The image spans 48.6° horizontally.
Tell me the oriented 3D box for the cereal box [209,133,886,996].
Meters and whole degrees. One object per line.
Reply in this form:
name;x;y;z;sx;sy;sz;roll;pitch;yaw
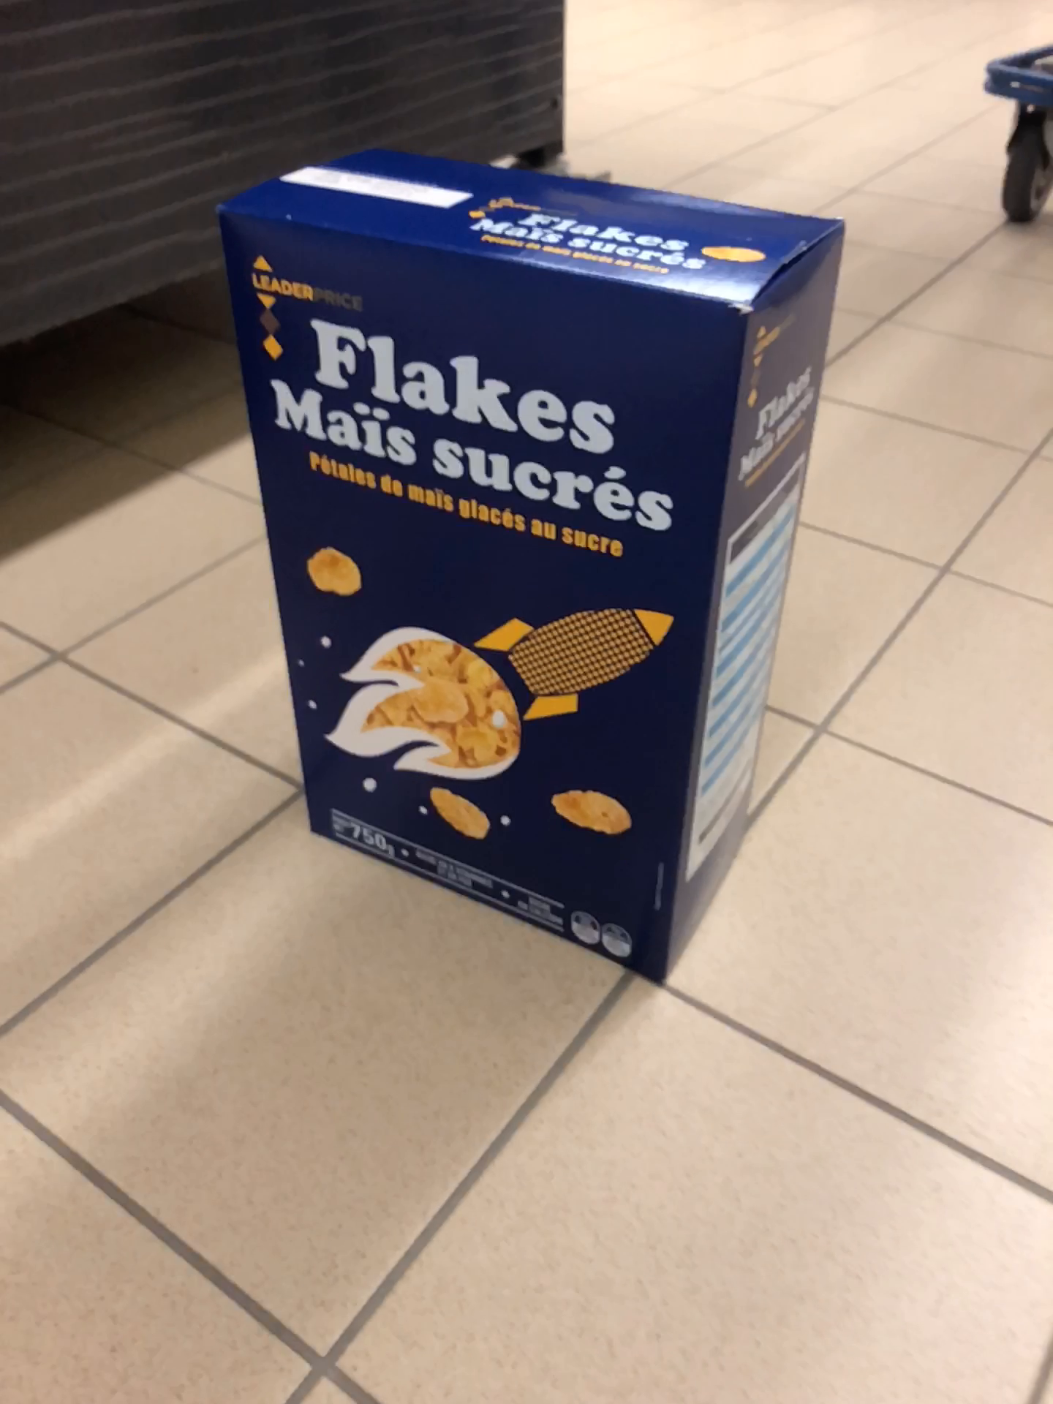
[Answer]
cereal box;0.006;-0.051;0.494;0.210;0.308;0.101;19;41;23
